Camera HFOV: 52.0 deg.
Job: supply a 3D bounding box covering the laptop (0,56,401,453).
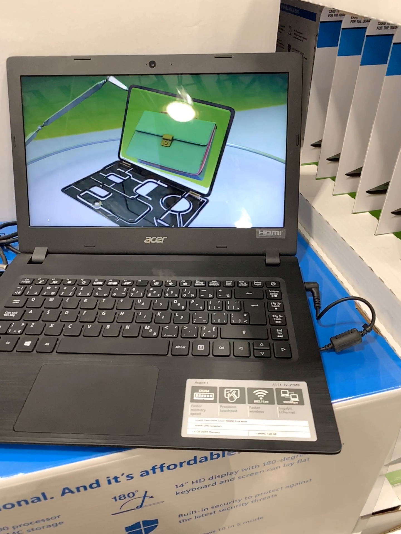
[{"bbox_3d":[-0.056,-0.049,0.362,0.318,0.186,0.329,1,37,3],"label":"laptop"}]
